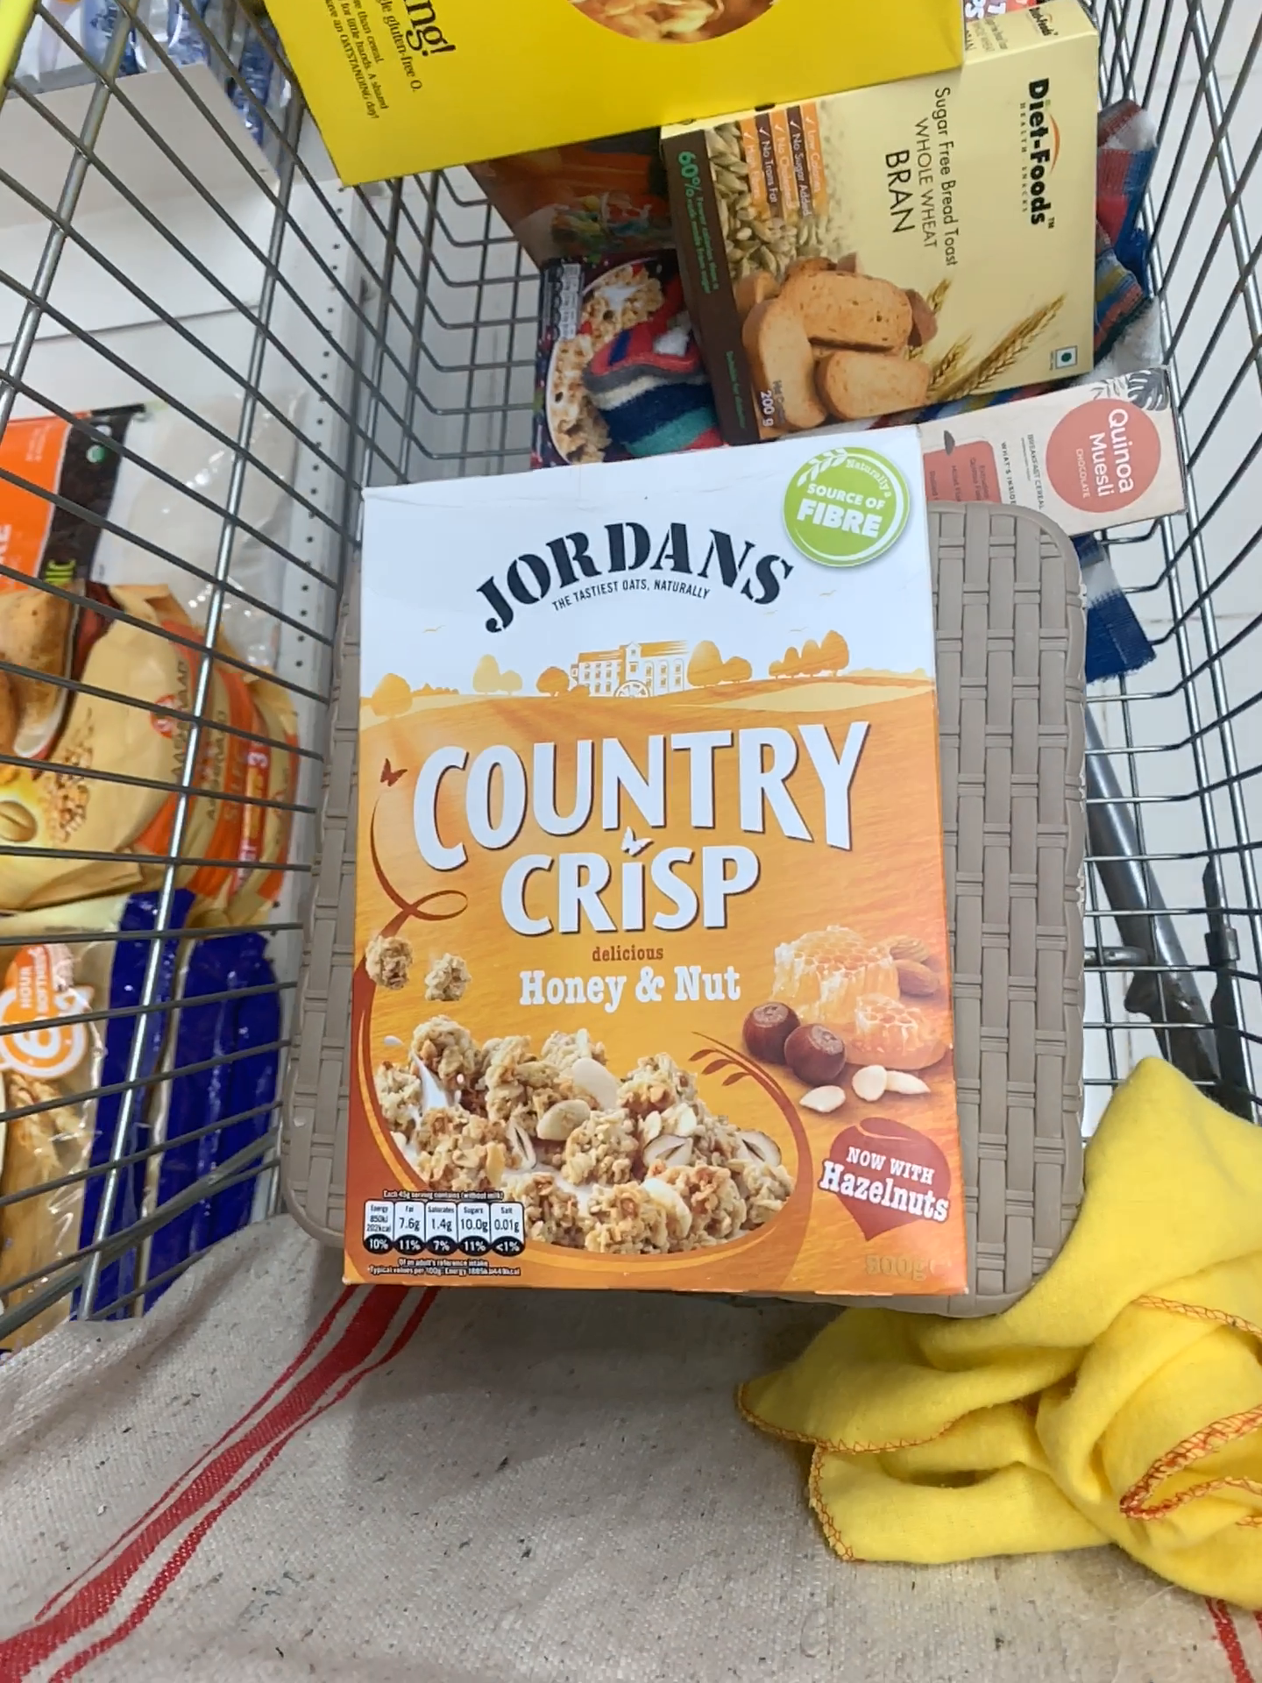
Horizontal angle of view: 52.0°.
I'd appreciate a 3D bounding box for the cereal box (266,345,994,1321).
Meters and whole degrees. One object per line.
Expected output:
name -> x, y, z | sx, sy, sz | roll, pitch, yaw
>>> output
cereal box -> 0.002, -0.001, 0.395 | 0.190, 0.080, 0.260 | -2, 79, 11
